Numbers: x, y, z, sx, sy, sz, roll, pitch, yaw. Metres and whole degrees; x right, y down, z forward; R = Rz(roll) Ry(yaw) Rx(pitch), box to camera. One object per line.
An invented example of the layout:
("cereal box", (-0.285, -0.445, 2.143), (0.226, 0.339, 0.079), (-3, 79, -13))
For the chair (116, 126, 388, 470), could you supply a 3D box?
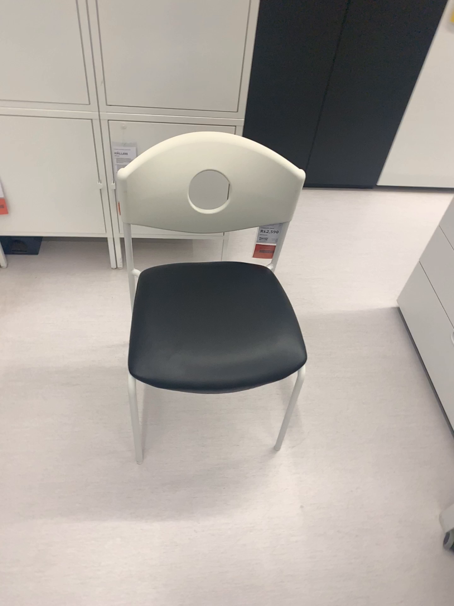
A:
("chair", (-0.022, 0.017, 1.241), (0.480, 0.767, 0.512), (-3, 49, -10))
